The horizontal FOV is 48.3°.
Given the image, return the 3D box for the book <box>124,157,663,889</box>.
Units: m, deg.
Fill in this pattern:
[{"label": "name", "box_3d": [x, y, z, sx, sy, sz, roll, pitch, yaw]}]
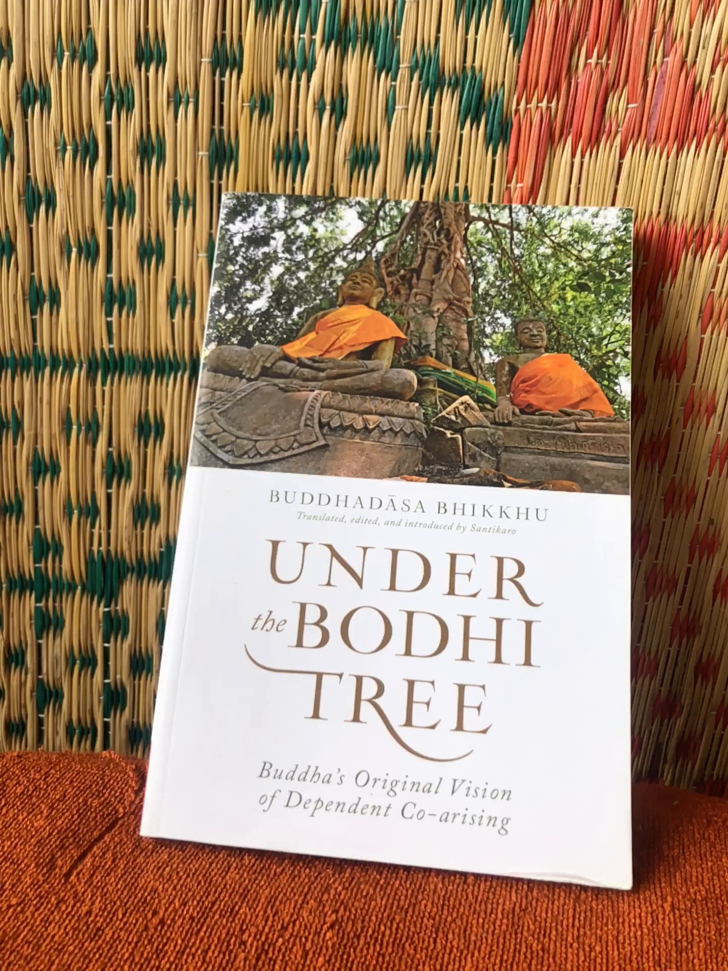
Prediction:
[{"label": "book", "box_3d": [0.016, 0.002, 0.278, 0.160, 0.231, 0.030, 3, -12, 4]}]
